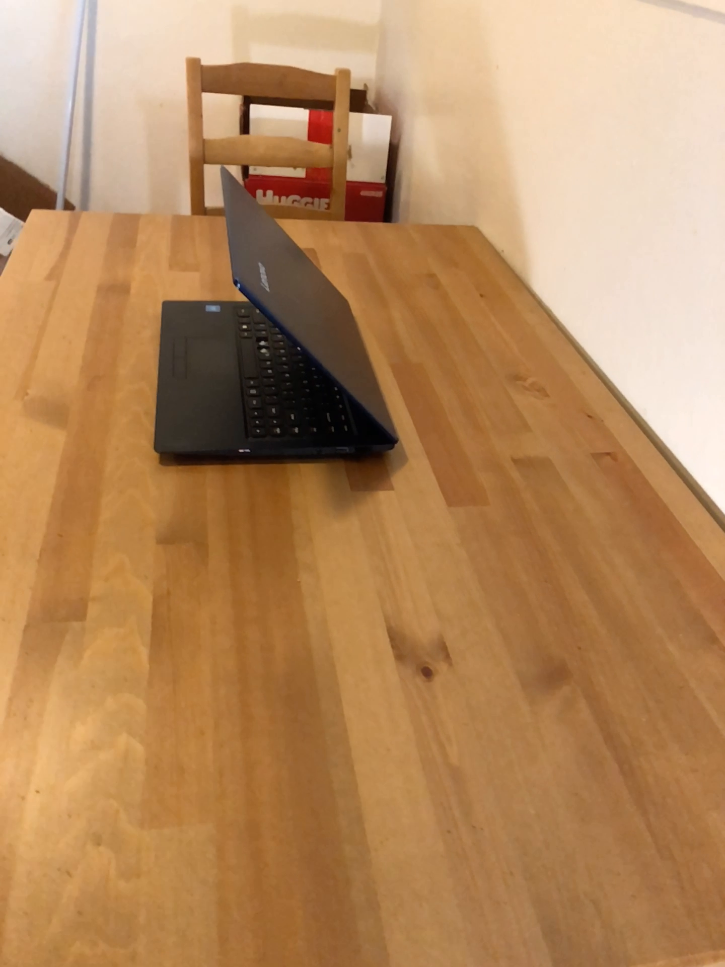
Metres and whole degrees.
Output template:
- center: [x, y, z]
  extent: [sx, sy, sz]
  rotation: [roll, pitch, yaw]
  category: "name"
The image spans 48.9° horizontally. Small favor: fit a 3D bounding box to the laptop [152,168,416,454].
- center: [-0.094, -0.192, 0.823]
  extent: [0.215, 0.161, 0.319]
  rotation: [-2, 38, -10]
  category: "laptop"
